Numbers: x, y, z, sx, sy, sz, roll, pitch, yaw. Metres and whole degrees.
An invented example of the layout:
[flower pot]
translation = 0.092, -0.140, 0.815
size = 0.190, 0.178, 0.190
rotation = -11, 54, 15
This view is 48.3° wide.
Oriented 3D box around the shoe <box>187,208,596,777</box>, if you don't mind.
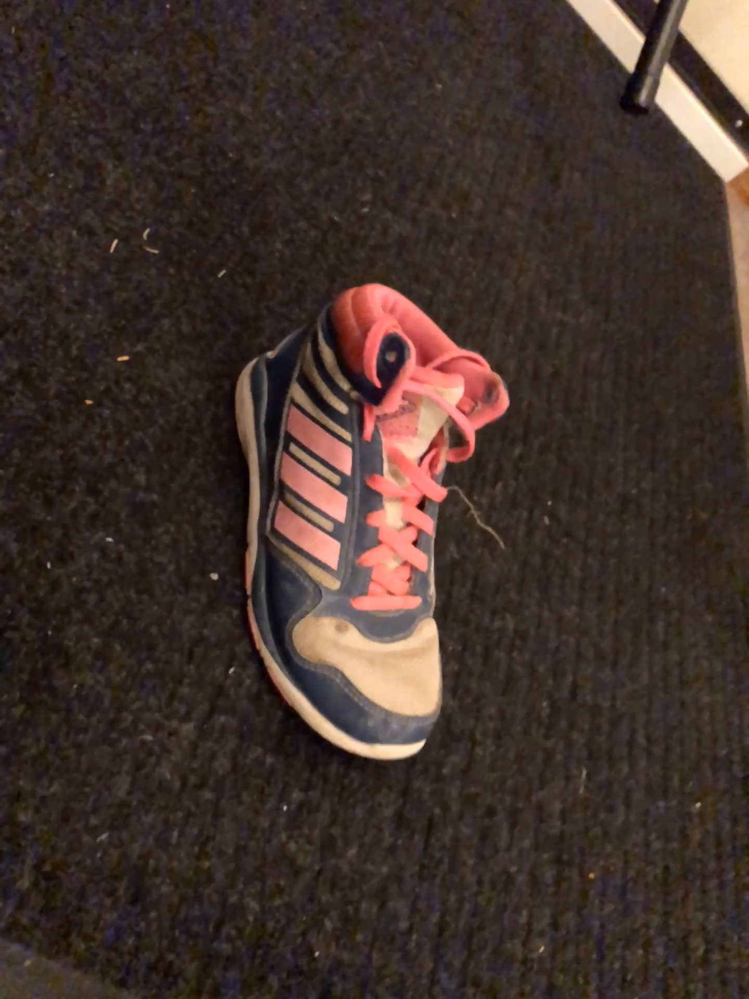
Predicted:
[shoe]
translation = -0.003, 0.000, 0.356
size = 0.091, 0.099, 0.200
rotation = 7, 60, -40
